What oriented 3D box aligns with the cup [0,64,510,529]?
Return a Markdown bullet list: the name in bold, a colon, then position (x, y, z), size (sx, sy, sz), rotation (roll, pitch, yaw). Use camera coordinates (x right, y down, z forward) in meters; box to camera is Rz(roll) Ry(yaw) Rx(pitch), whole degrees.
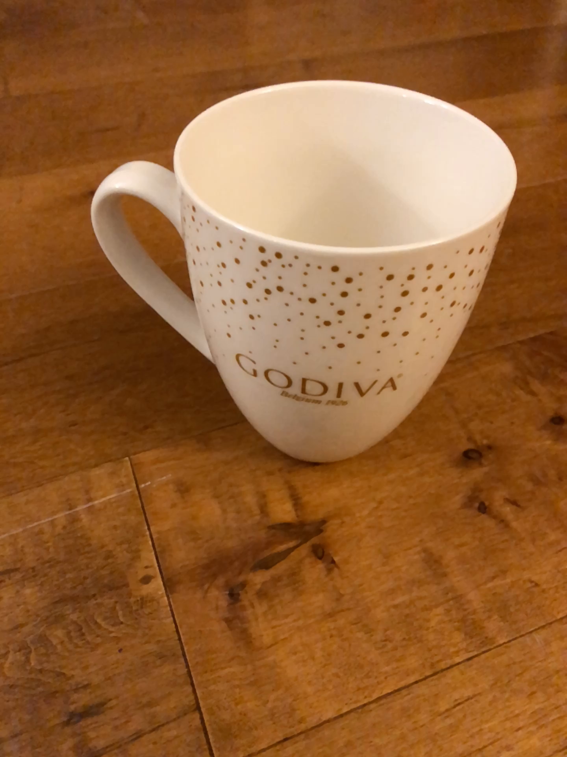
- **cup**: position (-0.003, -0.033, 0.238), size (0.140, 0.109, 0.111), rotation (10, 48, 8)
